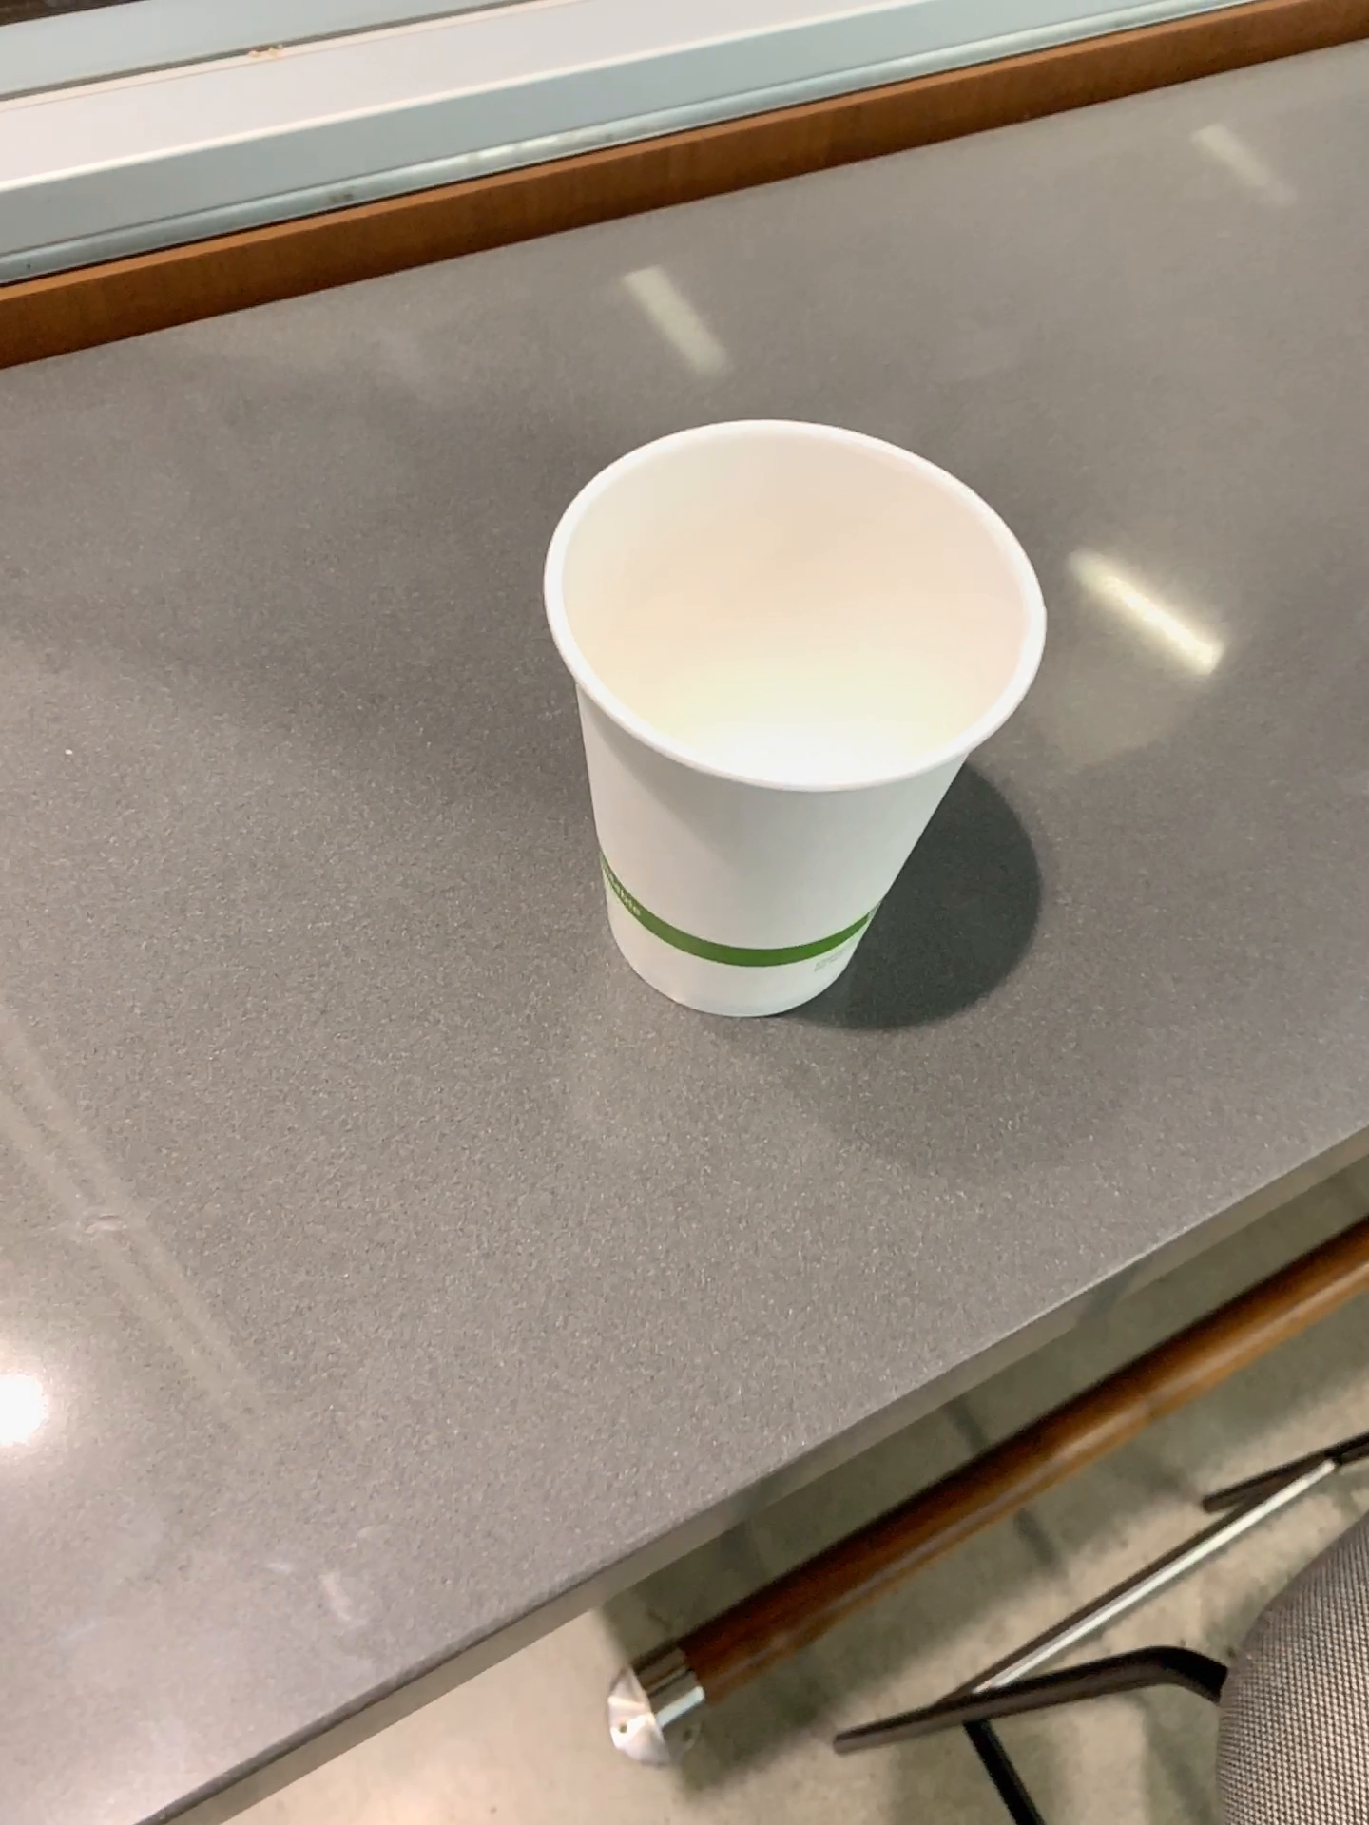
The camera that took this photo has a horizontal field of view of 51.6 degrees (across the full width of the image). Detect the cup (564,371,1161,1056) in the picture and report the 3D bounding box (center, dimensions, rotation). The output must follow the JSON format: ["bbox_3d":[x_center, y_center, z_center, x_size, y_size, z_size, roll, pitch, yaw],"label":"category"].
[{"bbox_3d":[0.023,-0.037,0.283,0.090,0.100,0.090,2,56,-3],"label":"cup"}]
